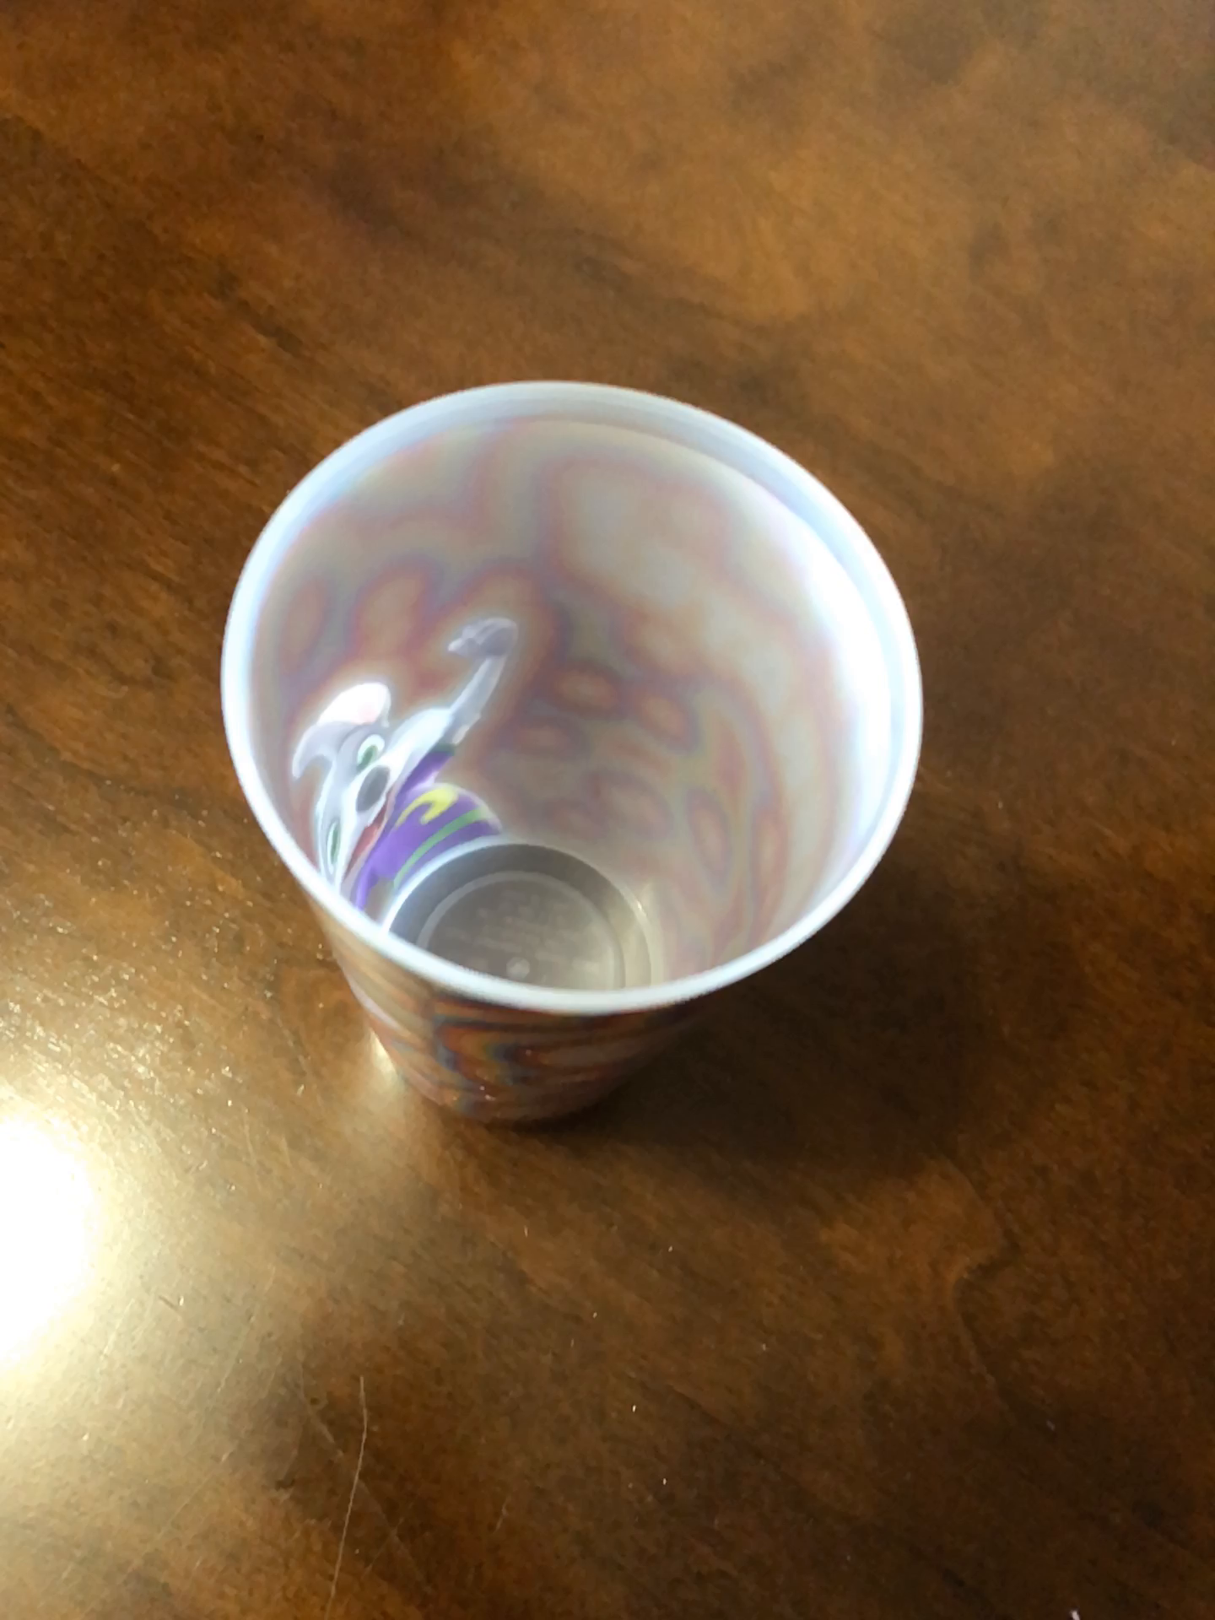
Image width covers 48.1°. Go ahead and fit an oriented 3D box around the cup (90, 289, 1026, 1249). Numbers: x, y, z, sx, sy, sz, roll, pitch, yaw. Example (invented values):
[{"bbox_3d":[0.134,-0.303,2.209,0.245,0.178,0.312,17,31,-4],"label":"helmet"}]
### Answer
[{"bbox_3d":[-0.009,0.009,0.201,0.070,0.130,0.070,2,68,-6],"label":"cup"}]
